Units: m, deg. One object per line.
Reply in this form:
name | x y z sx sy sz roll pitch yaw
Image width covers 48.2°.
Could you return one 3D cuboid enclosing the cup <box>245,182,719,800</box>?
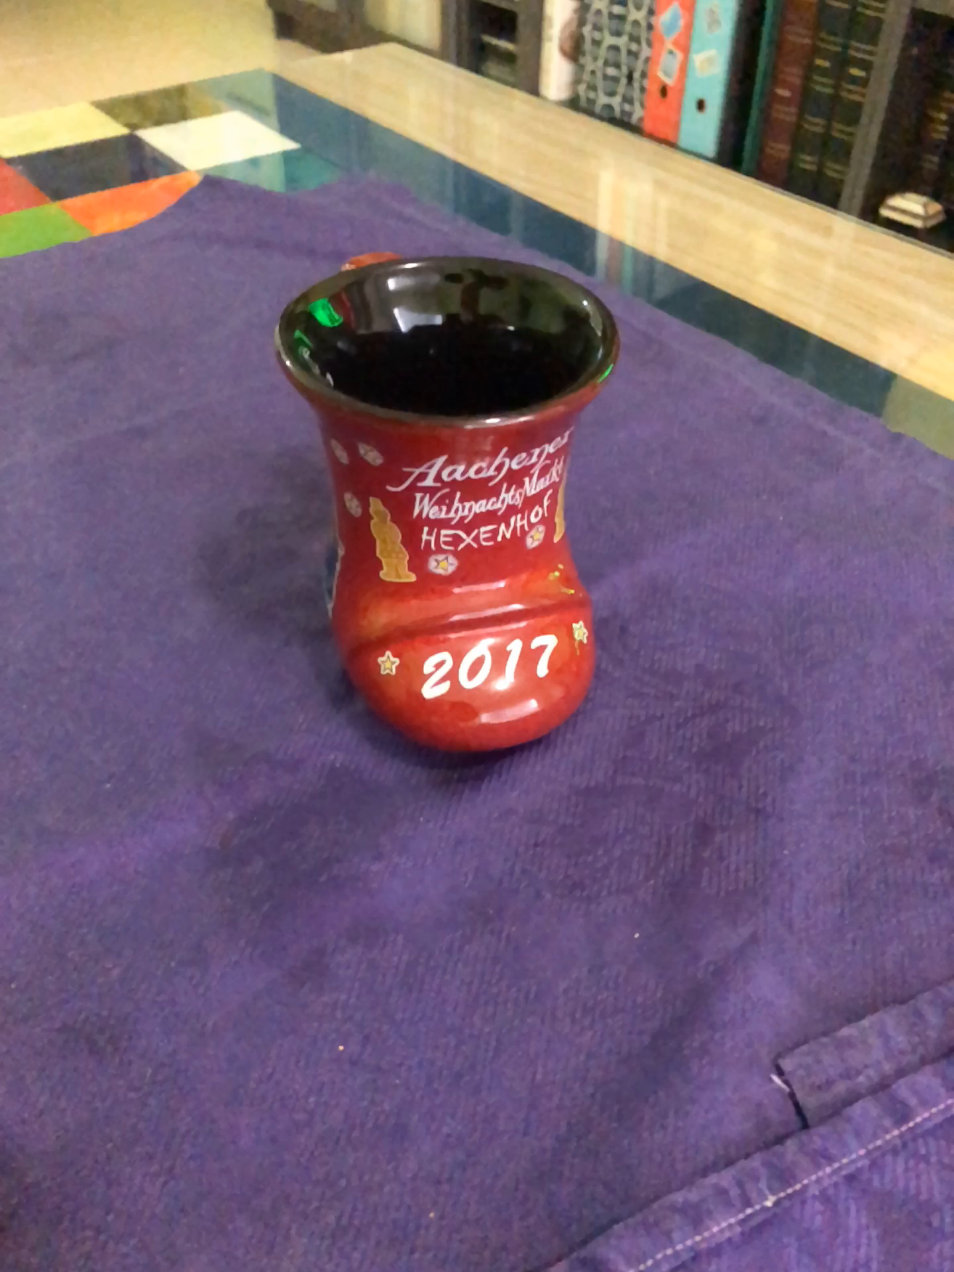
cup | -0.007 -0.042 0.263 0.070 0.090 0.120 -12 44 -13
